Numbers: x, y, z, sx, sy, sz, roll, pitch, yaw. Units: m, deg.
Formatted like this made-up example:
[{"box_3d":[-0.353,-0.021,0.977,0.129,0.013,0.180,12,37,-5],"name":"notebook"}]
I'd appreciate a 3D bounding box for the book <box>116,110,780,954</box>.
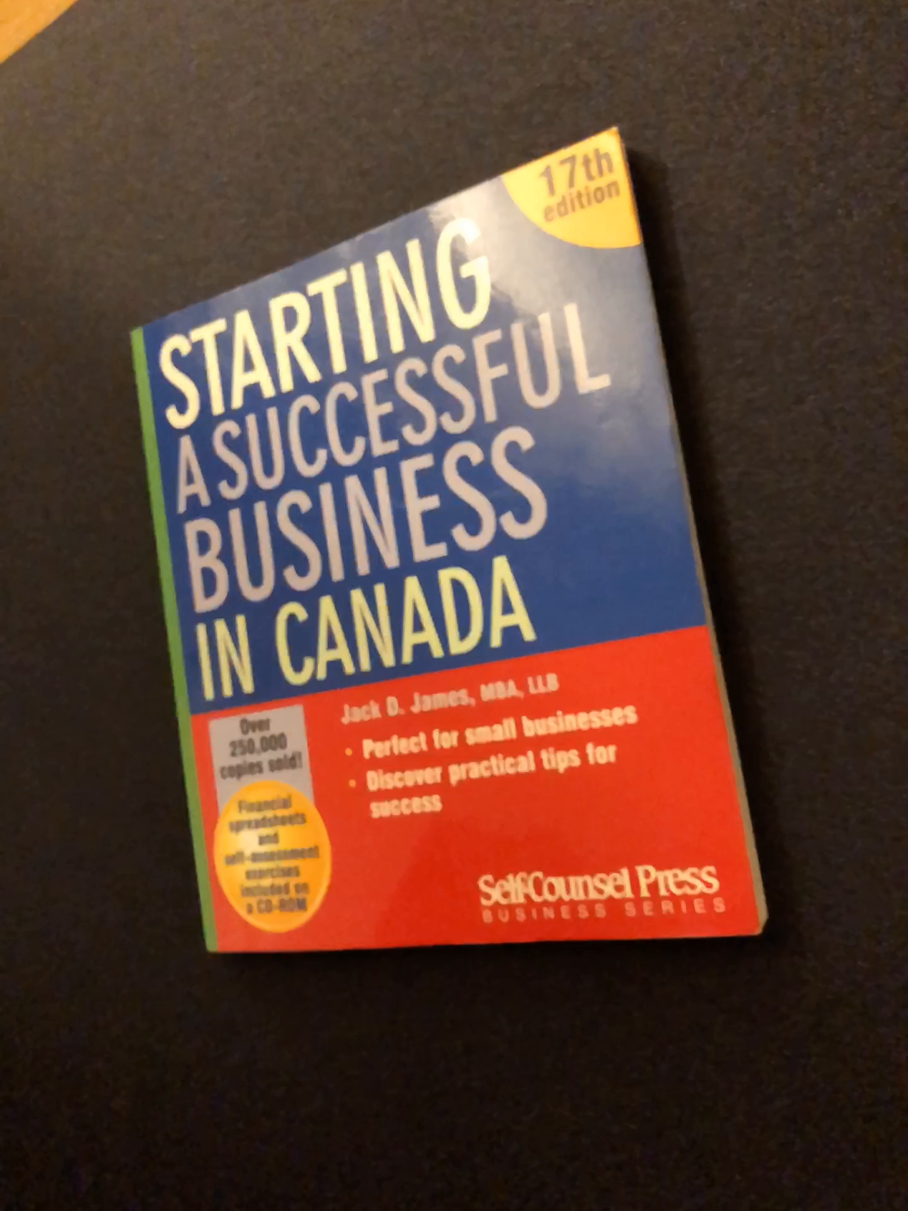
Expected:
[{"box_3d":[-0.017,-0.009,0.358,0.211,0.040,0.247,-11,83,28],"name":"book"}]
